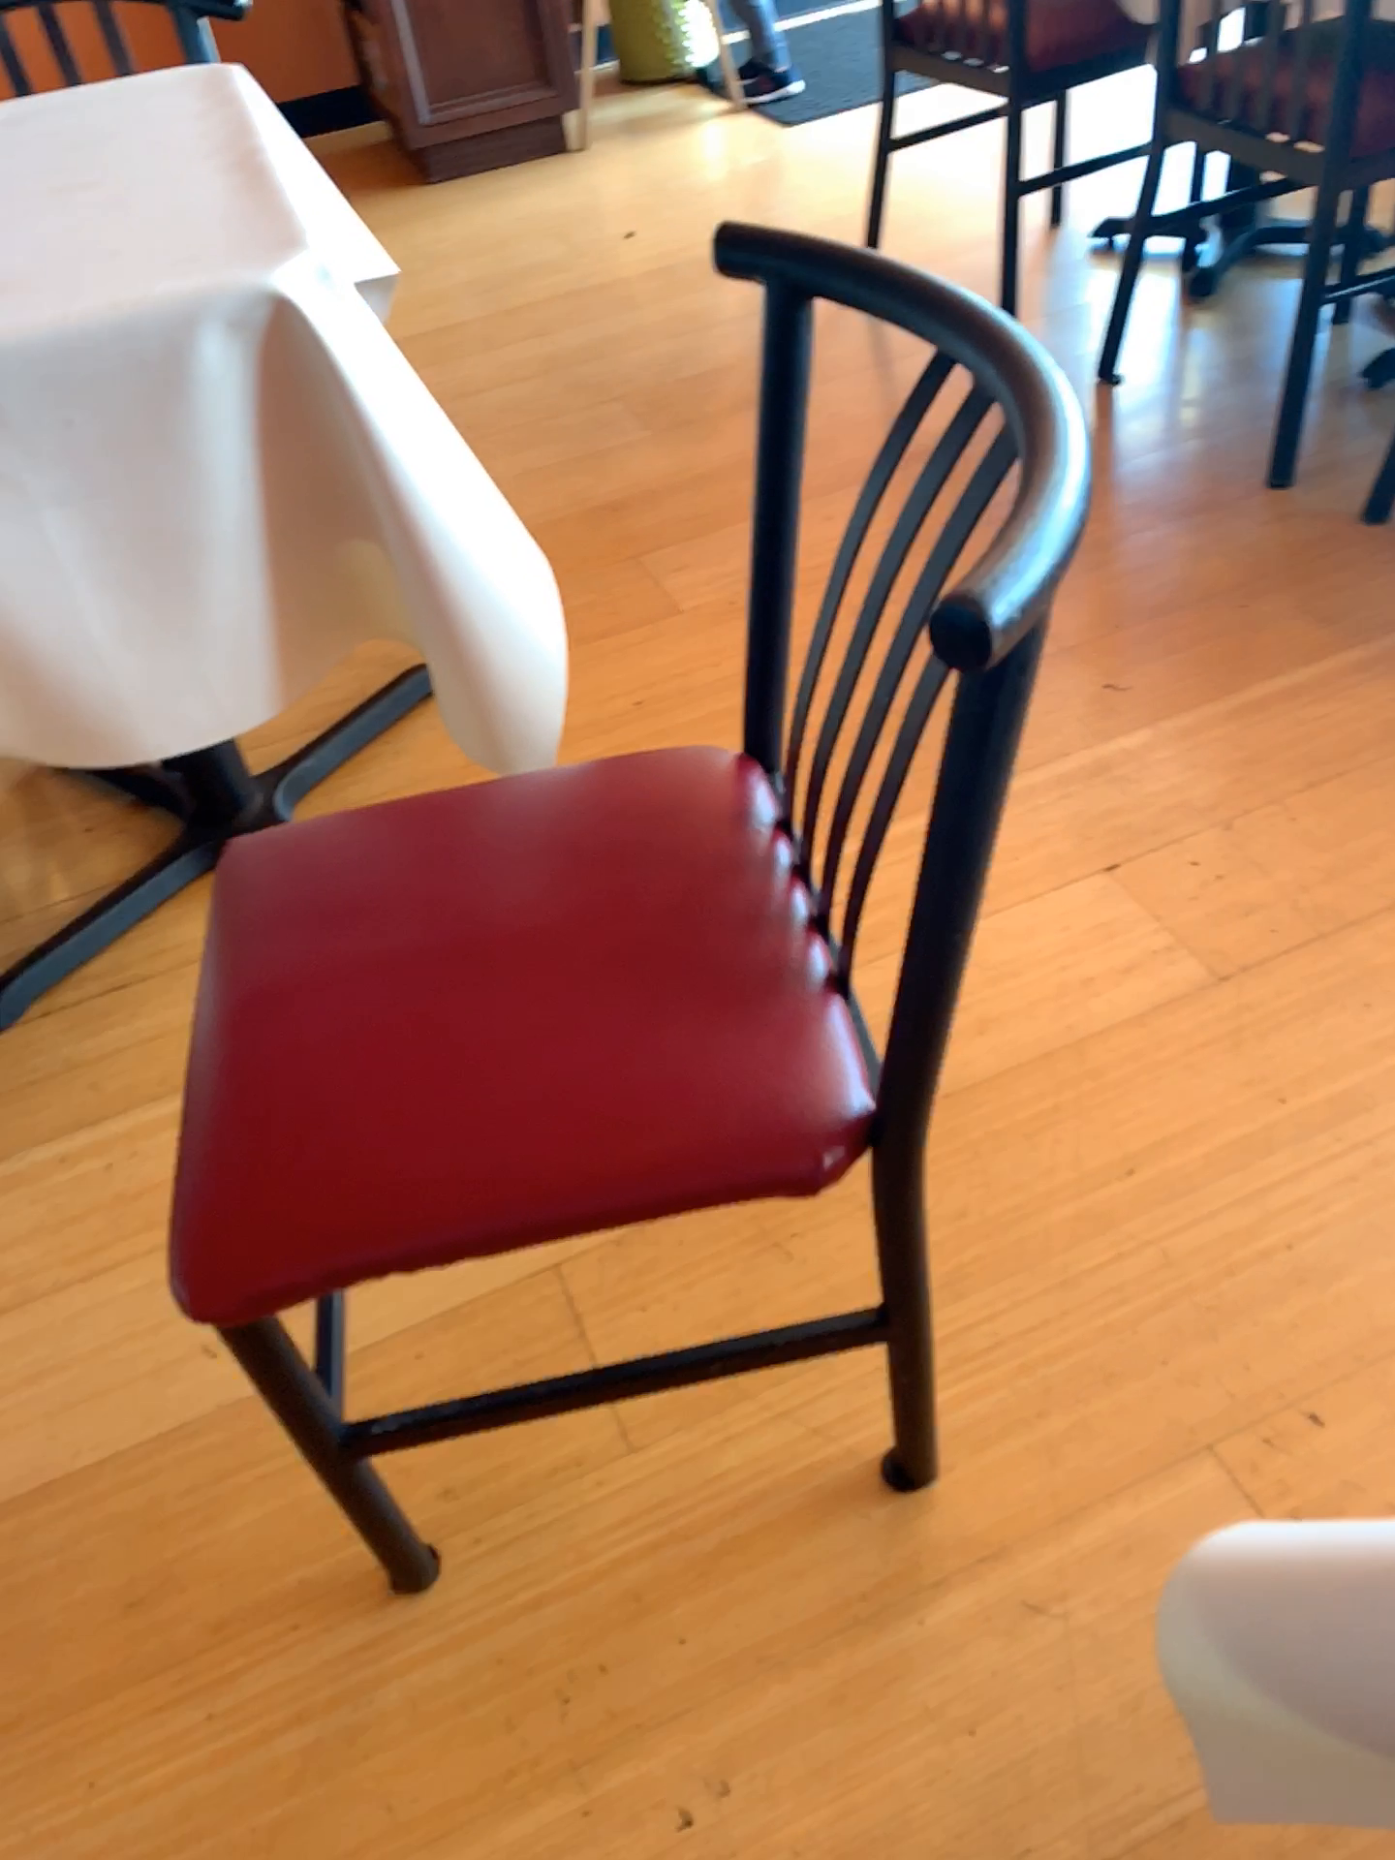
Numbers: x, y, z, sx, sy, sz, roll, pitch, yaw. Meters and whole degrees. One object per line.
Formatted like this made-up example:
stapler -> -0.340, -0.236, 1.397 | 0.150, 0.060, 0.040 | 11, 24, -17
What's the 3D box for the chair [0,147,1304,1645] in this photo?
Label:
chair -> -0.067, 0.020, 0.906 | 0.570, 0.726, 0.483 | -13, 46, -2
